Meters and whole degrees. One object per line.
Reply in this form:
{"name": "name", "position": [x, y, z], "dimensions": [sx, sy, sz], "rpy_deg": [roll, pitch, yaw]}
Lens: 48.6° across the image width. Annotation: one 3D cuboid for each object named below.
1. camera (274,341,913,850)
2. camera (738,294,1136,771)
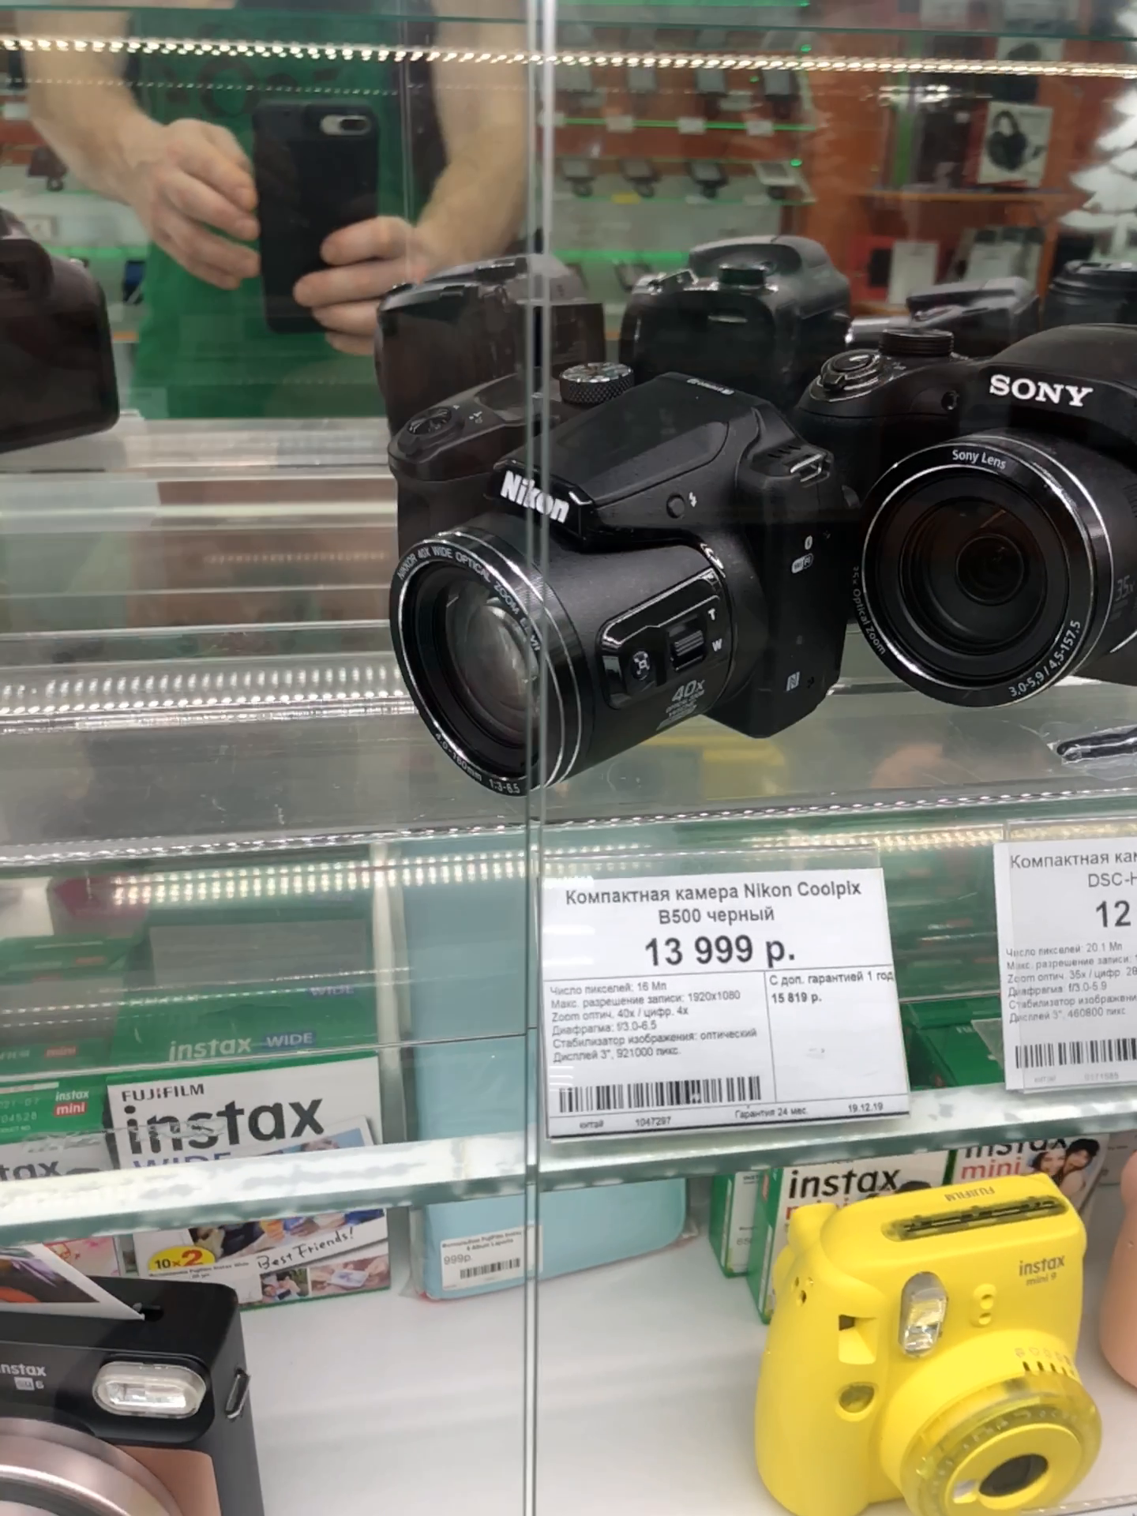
{"name": "camera", "position": [0.004, -0.049, 0.307], "dimensions": [0.110, 0.080, 0.098], "rpy_deg": [24, 33, 38]}
{"name": "camera", "position": [0.121, -0.069, 0.330], "dimensions": [0.115, 0.084, 0.098], "rpy_deg": [22, 35, 40]}
